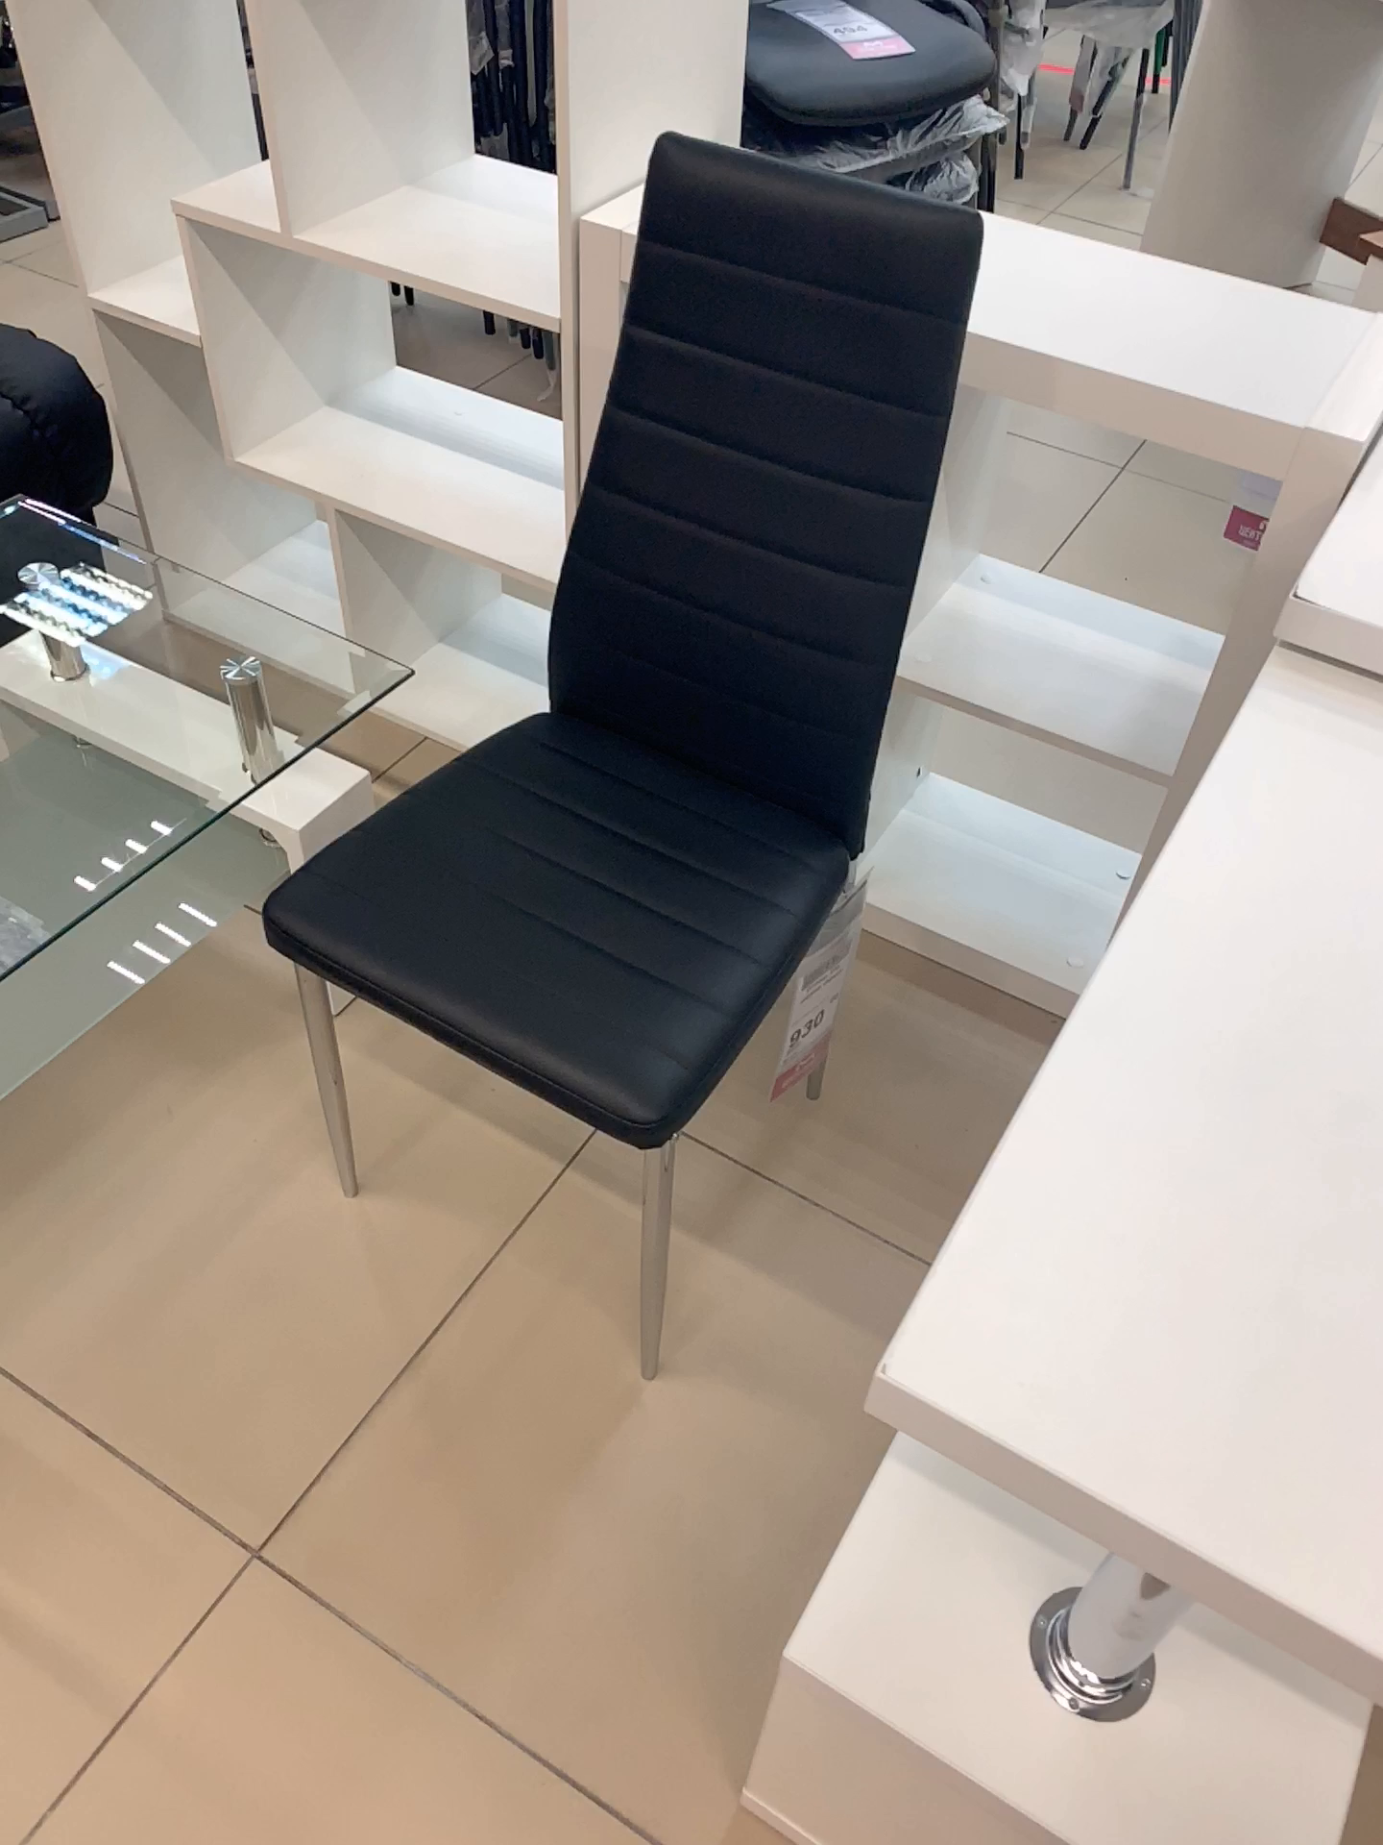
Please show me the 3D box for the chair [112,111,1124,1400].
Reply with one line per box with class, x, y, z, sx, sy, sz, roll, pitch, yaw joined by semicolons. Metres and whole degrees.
chair;-0.030;-0.129;1.300;0.441;0.916;0.602;25;49;21
